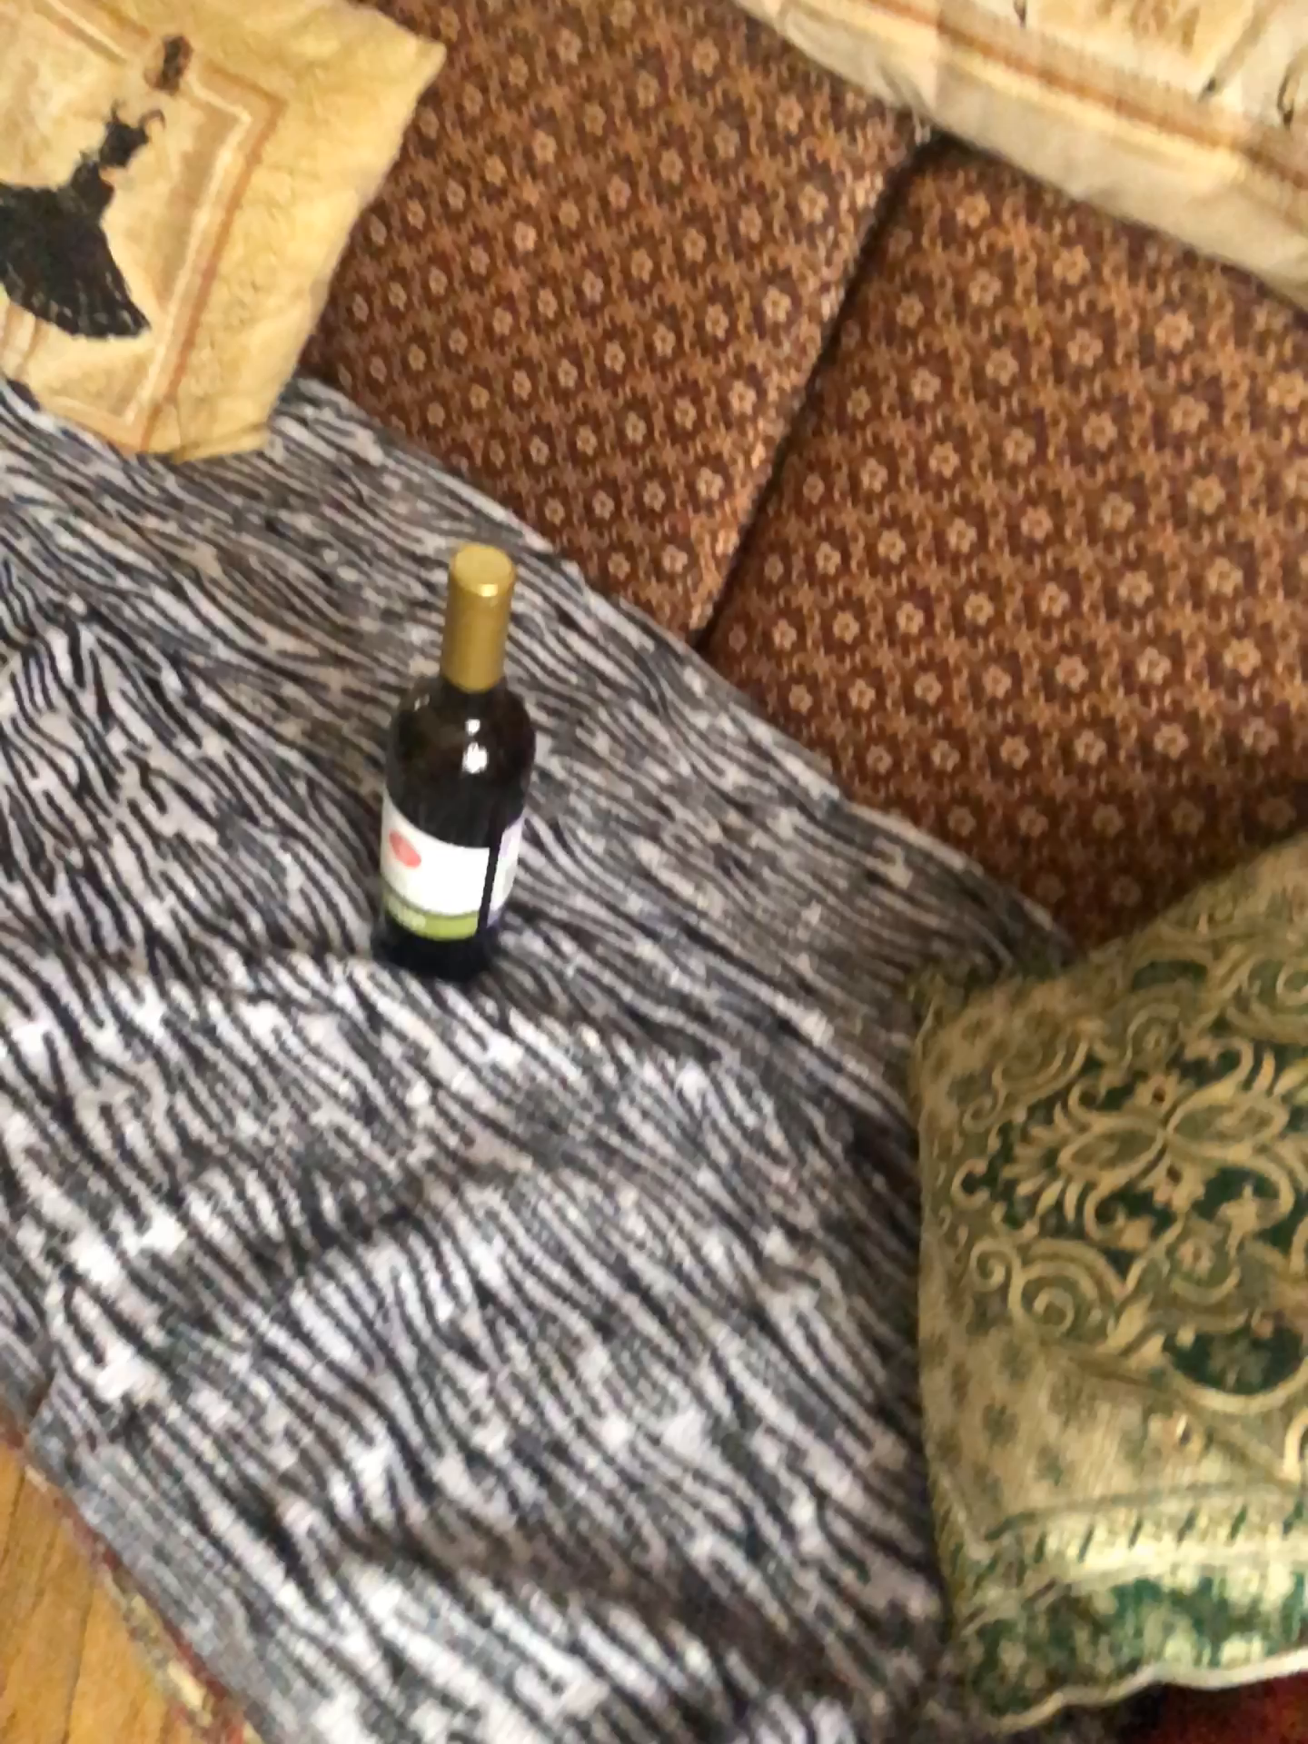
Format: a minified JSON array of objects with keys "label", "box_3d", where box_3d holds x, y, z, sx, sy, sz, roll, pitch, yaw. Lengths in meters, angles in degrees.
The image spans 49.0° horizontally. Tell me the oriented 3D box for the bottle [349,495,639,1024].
[{"label":"bottle","box_3d":[-0.089,-0.044,0.718,0.080,0.268,0.080,7,51,-9]}]
